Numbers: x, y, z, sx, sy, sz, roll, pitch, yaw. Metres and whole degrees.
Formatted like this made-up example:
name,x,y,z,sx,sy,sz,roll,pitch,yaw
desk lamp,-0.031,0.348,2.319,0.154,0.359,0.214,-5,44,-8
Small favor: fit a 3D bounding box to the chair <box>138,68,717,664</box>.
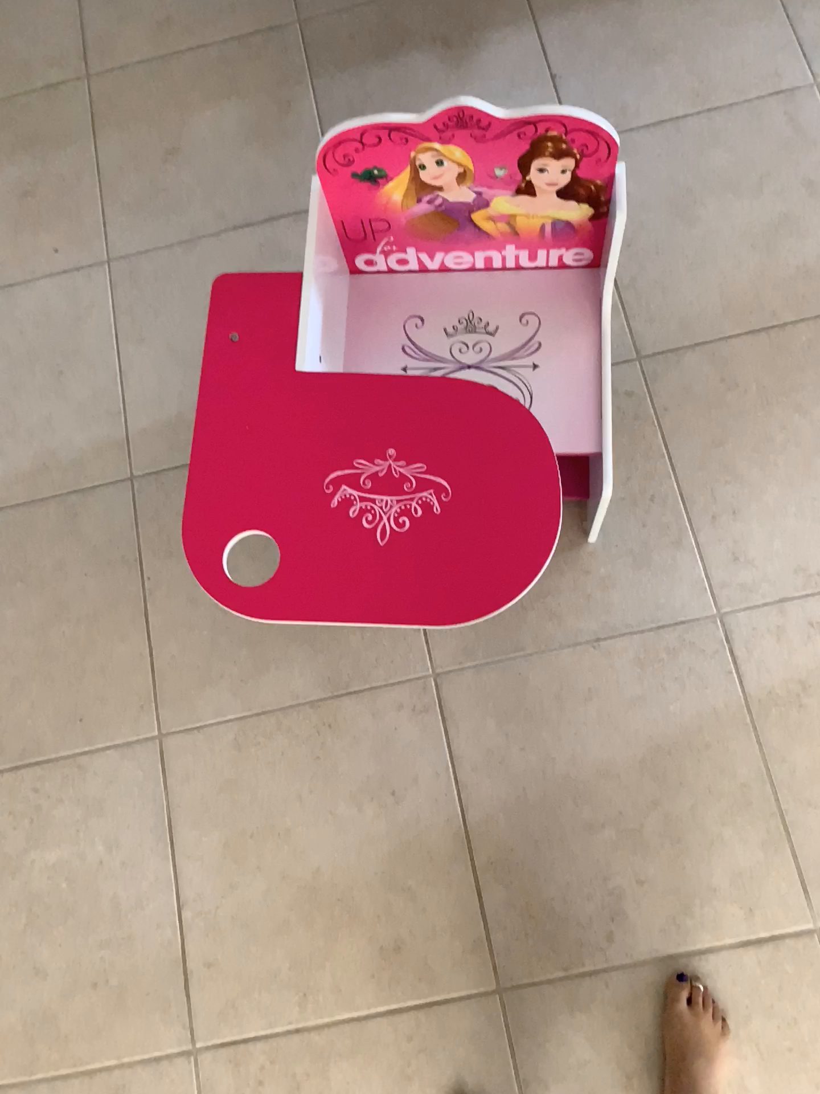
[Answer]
name,x,y,z,sx,sy,sz,roll,pitch,yaw
chair,0.042,-0.161,1.116,0.531,0.570,0.550,-1,74,7
